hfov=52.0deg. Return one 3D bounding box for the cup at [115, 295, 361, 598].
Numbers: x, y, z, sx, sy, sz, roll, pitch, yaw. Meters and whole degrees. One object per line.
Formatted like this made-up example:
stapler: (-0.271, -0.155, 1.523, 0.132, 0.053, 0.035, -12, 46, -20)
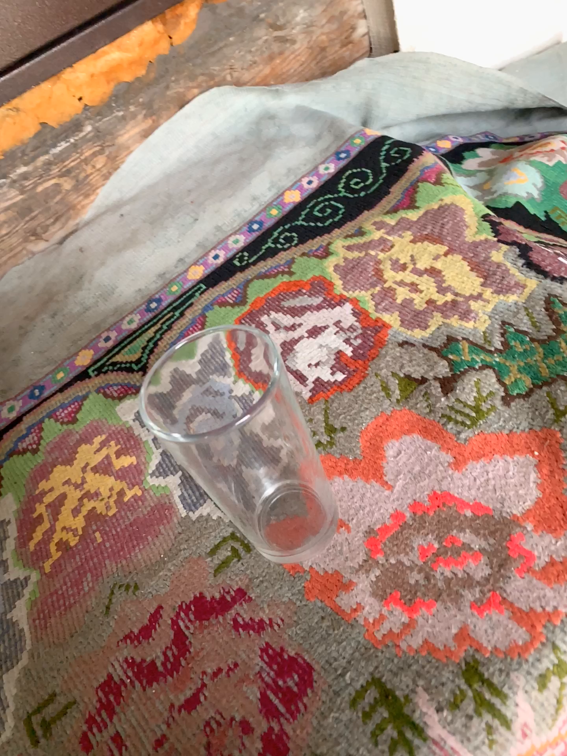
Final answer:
cup: (-0.016, 0.036, 0.258, 0.060, 0.119, 0.060, -13, 46, 13)
